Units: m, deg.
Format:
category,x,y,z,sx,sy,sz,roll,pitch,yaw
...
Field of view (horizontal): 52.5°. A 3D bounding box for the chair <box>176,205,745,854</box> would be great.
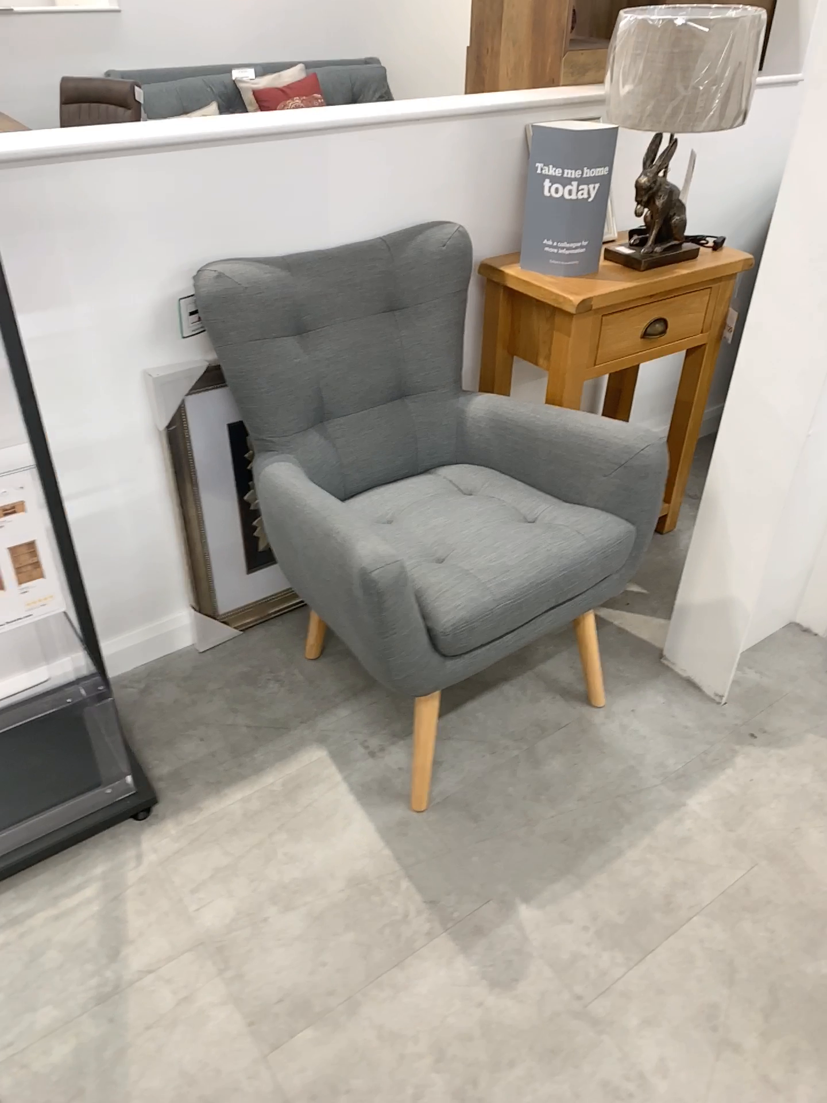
category,x,y,z,sx,sy,sz,roll,pitch,yaw
chair,0.064,-0.082,1.558,0.710,0.877,0.542,-22,41,-29
